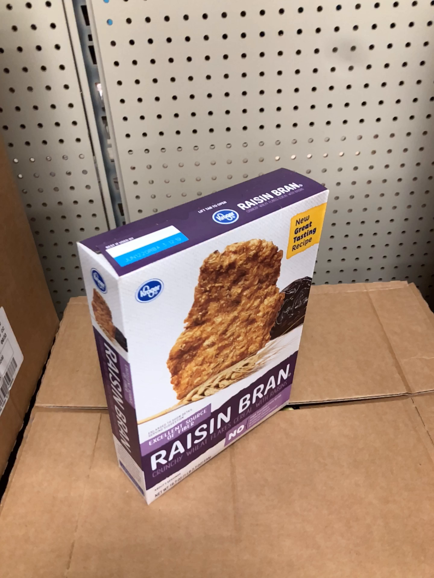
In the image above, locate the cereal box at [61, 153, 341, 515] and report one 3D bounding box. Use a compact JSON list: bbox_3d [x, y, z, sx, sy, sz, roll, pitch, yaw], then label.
[{"bbox_3d":[-0.004,0.050,0.405,0.190,0.279,0.050,-27,48,-28],"label":"cereal box"}]
